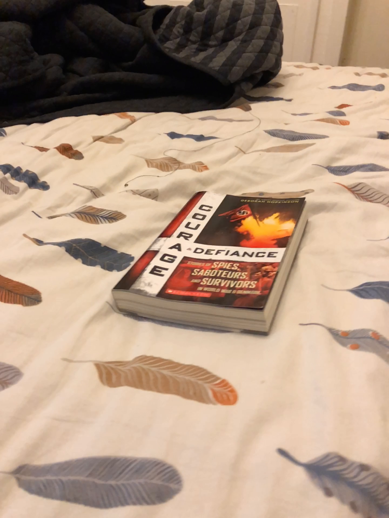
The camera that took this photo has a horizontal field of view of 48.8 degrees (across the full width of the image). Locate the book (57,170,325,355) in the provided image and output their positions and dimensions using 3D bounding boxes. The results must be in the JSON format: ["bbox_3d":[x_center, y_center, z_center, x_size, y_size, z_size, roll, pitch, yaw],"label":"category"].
[{"bbox_3d":[0.016,-0.020,0.428,0.200,0.020,0.231,11,38,15],"label":"book"}]
